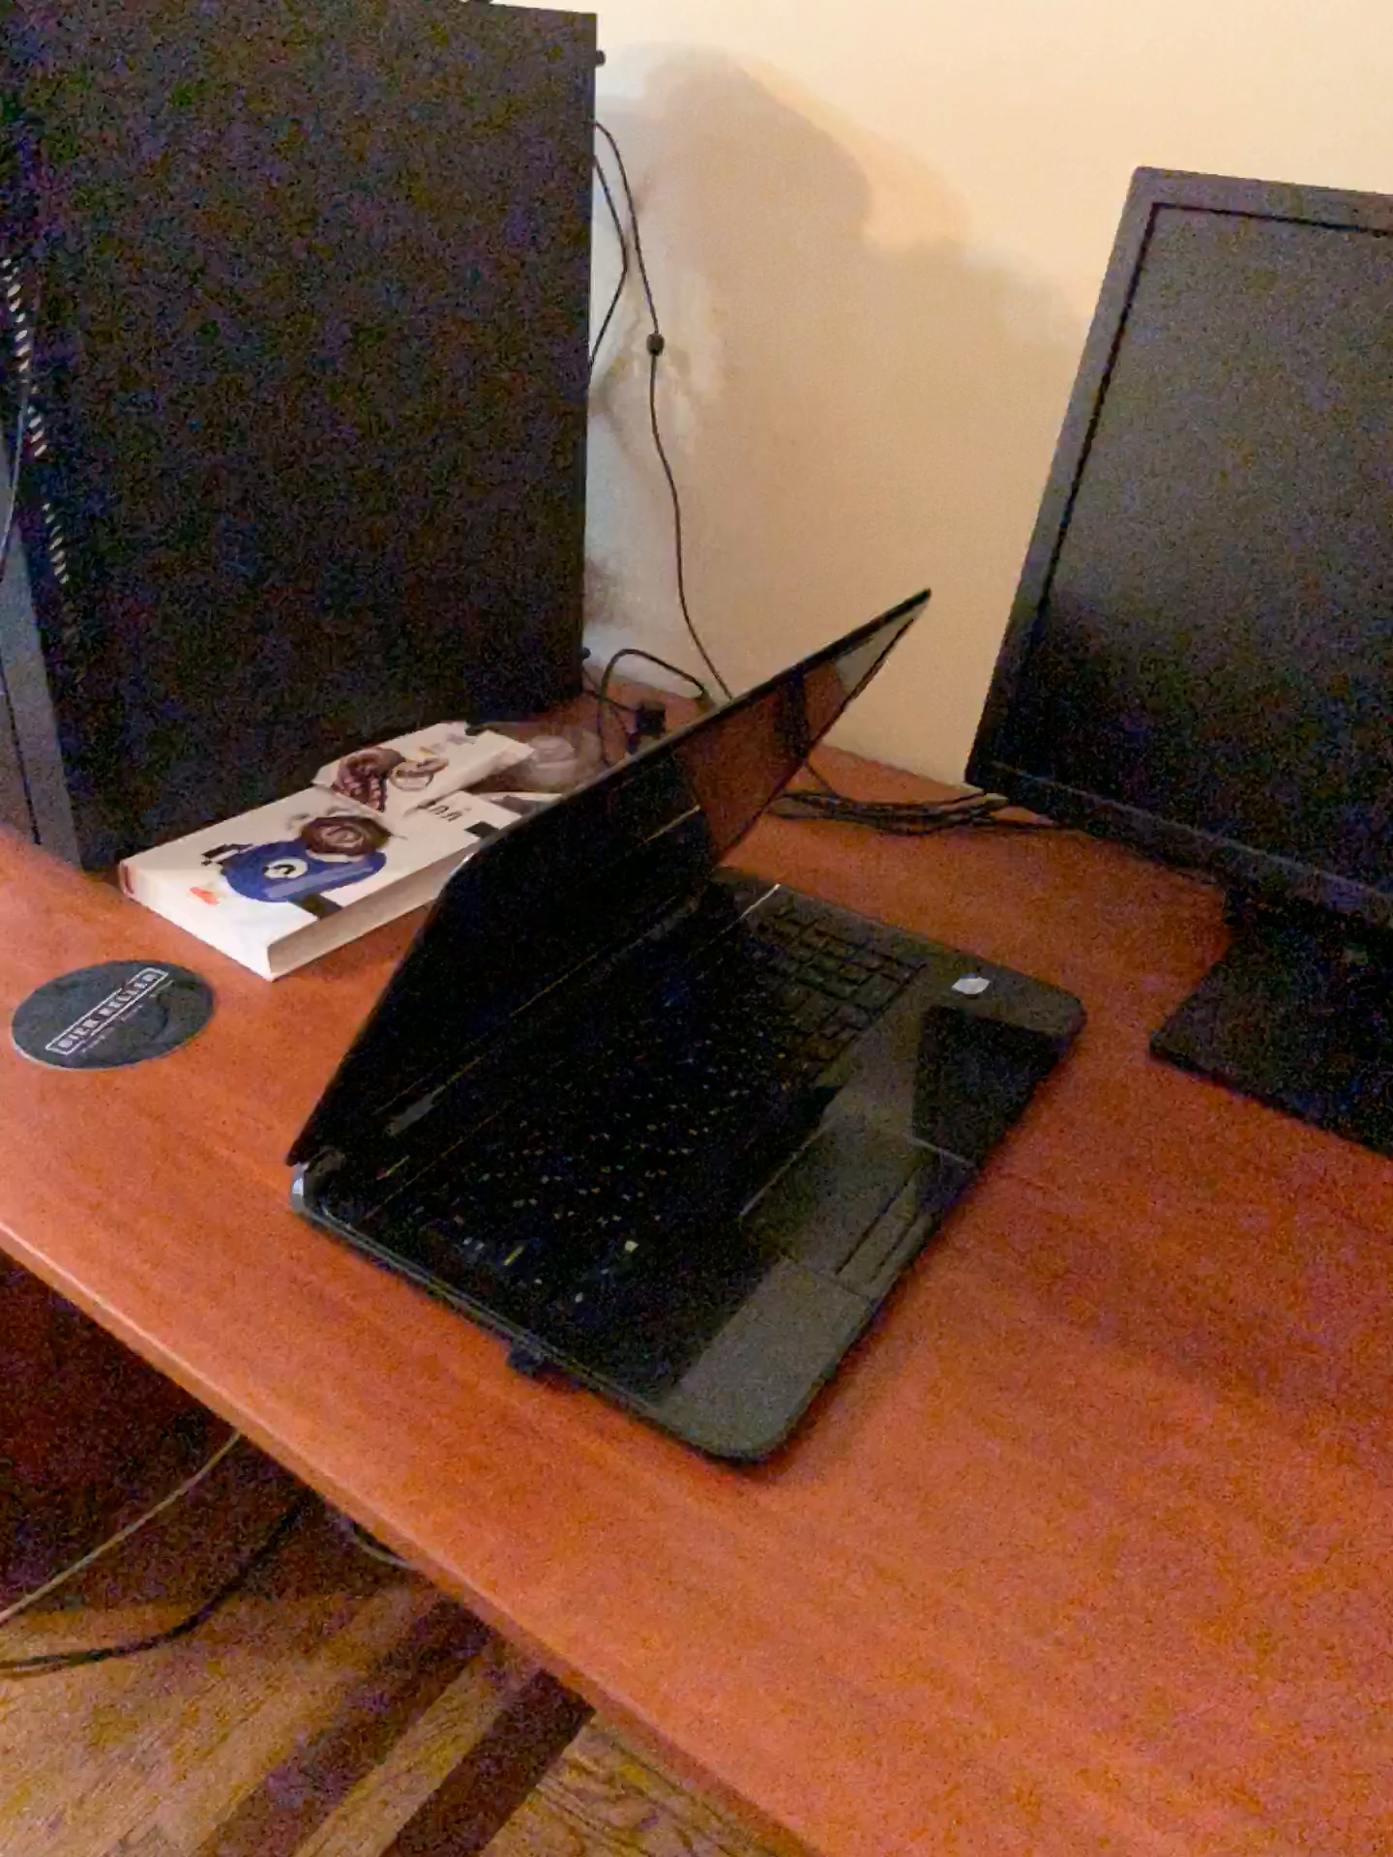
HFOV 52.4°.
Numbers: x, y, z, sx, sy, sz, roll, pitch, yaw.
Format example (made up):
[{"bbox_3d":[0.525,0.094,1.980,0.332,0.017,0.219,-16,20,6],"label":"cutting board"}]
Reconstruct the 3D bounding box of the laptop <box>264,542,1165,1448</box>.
[{"bbox_3d":[0.026,-0.010,0.633,0.222,0.198,0.350,22,36,26],"label":"laptop"}]
